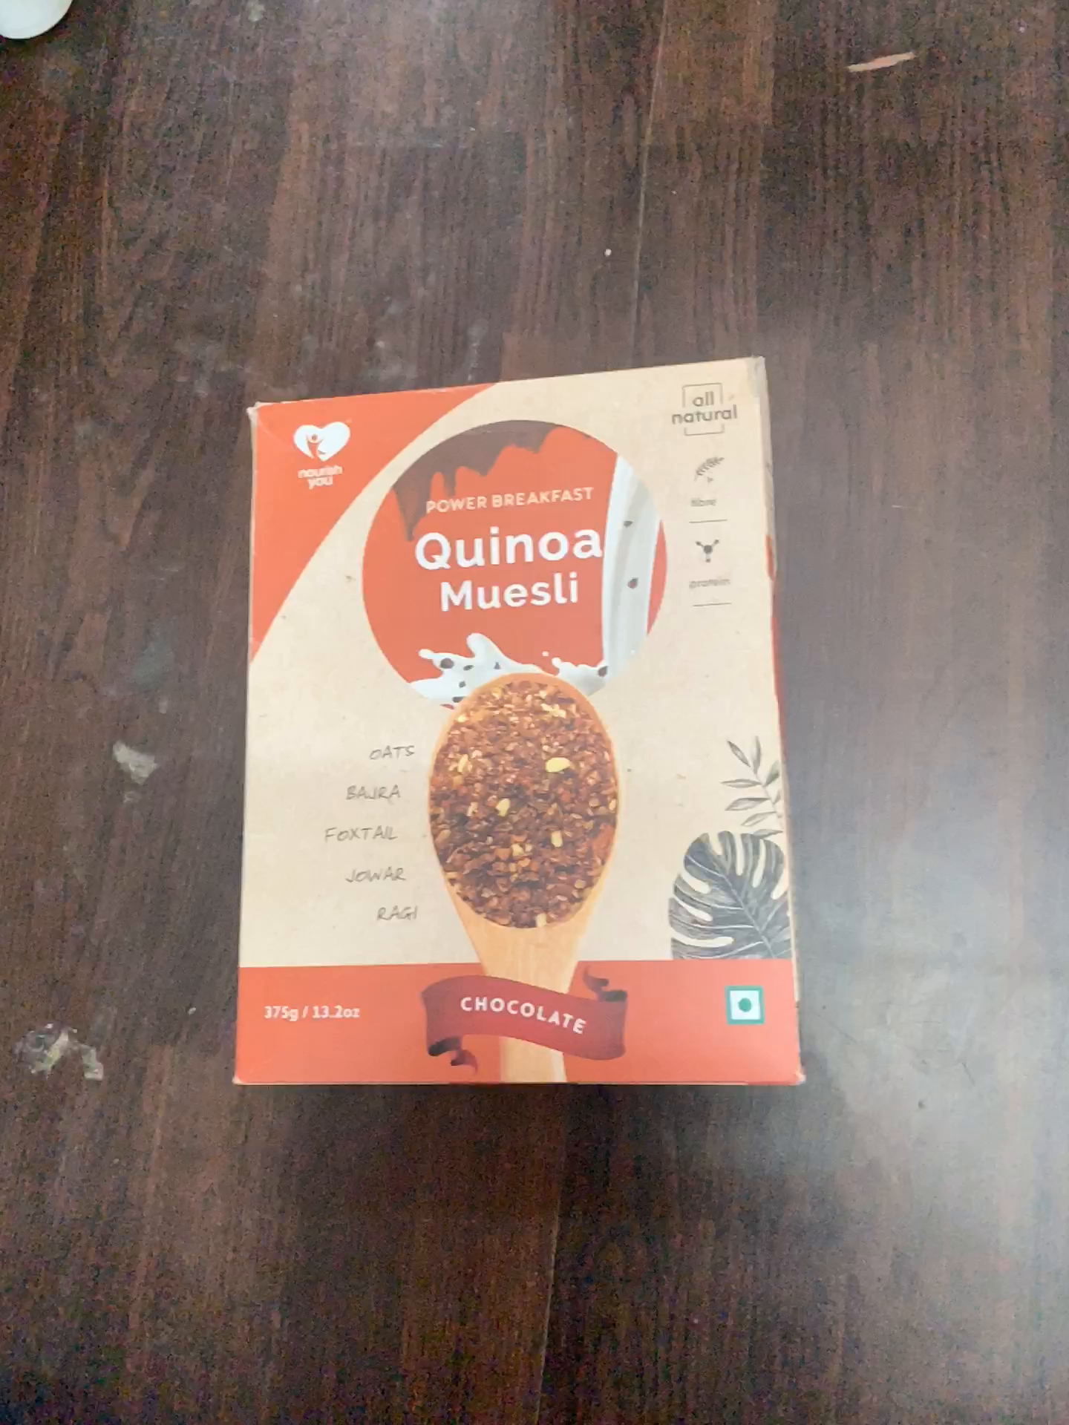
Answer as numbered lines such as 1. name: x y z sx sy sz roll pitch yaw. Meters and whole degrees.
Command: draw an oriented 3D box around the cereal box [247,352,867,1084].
1. cereal box: 0.007 0.005 0.356 0.170 0.070 0.210 -2 77 9
